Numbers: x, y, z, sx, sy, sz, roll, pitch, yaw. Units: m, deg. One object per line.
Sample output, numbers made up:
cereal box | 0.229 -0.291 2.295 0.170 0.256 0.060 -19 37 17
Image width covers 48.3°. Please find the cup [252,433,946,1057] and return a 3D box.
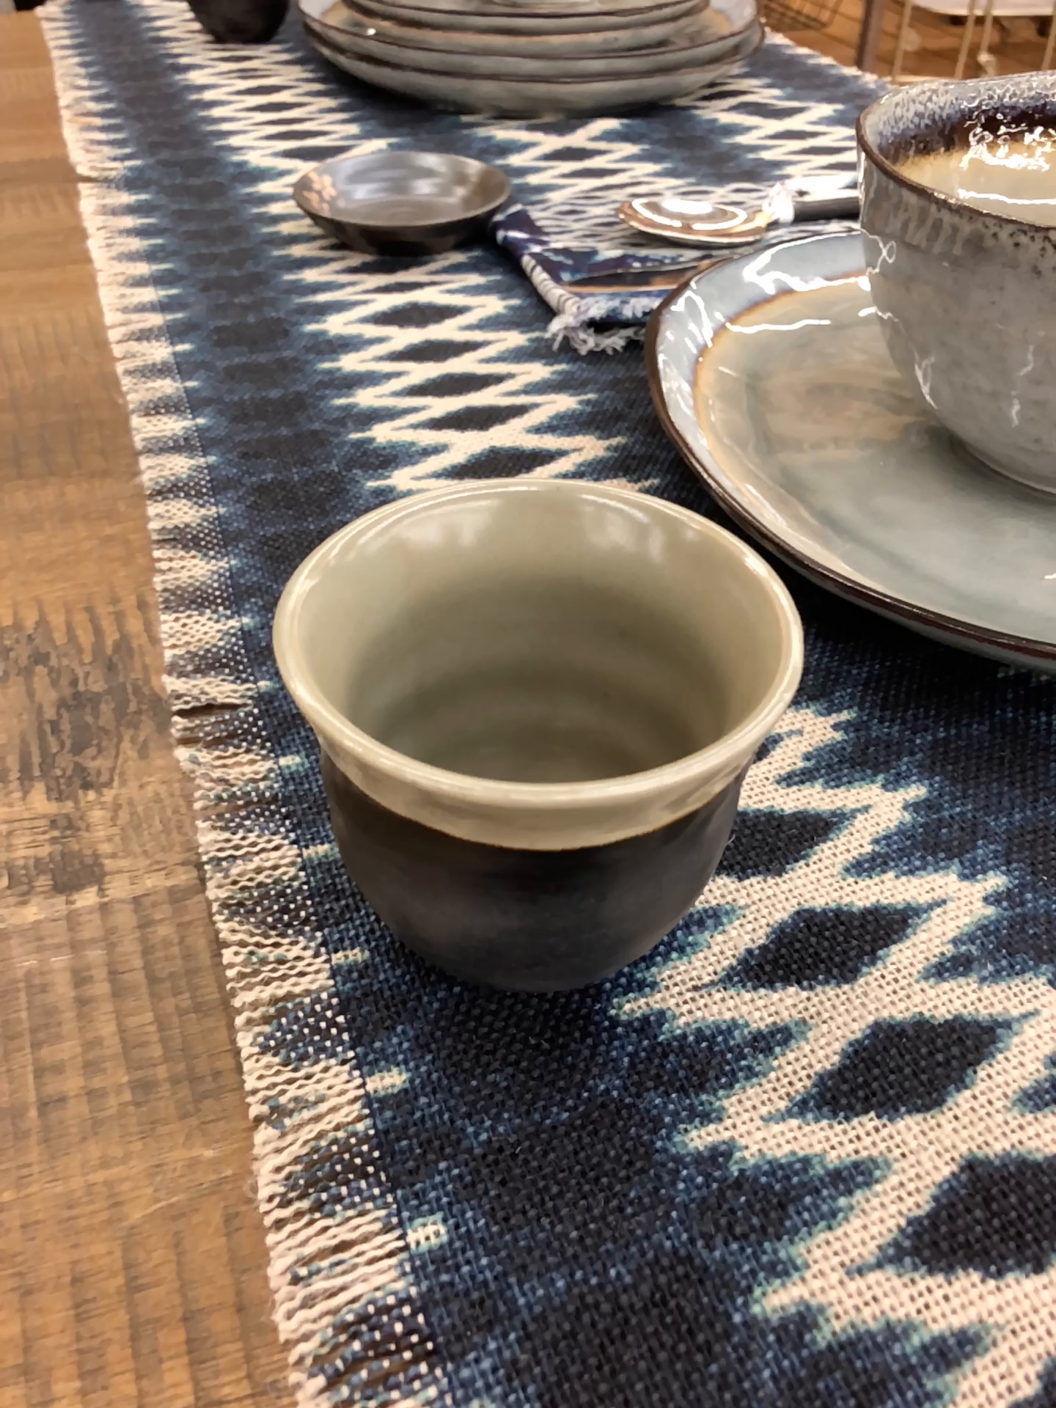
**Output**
cup | 0.004 0.001 0.192 0.084 0.048 0.079 1 42 -1
